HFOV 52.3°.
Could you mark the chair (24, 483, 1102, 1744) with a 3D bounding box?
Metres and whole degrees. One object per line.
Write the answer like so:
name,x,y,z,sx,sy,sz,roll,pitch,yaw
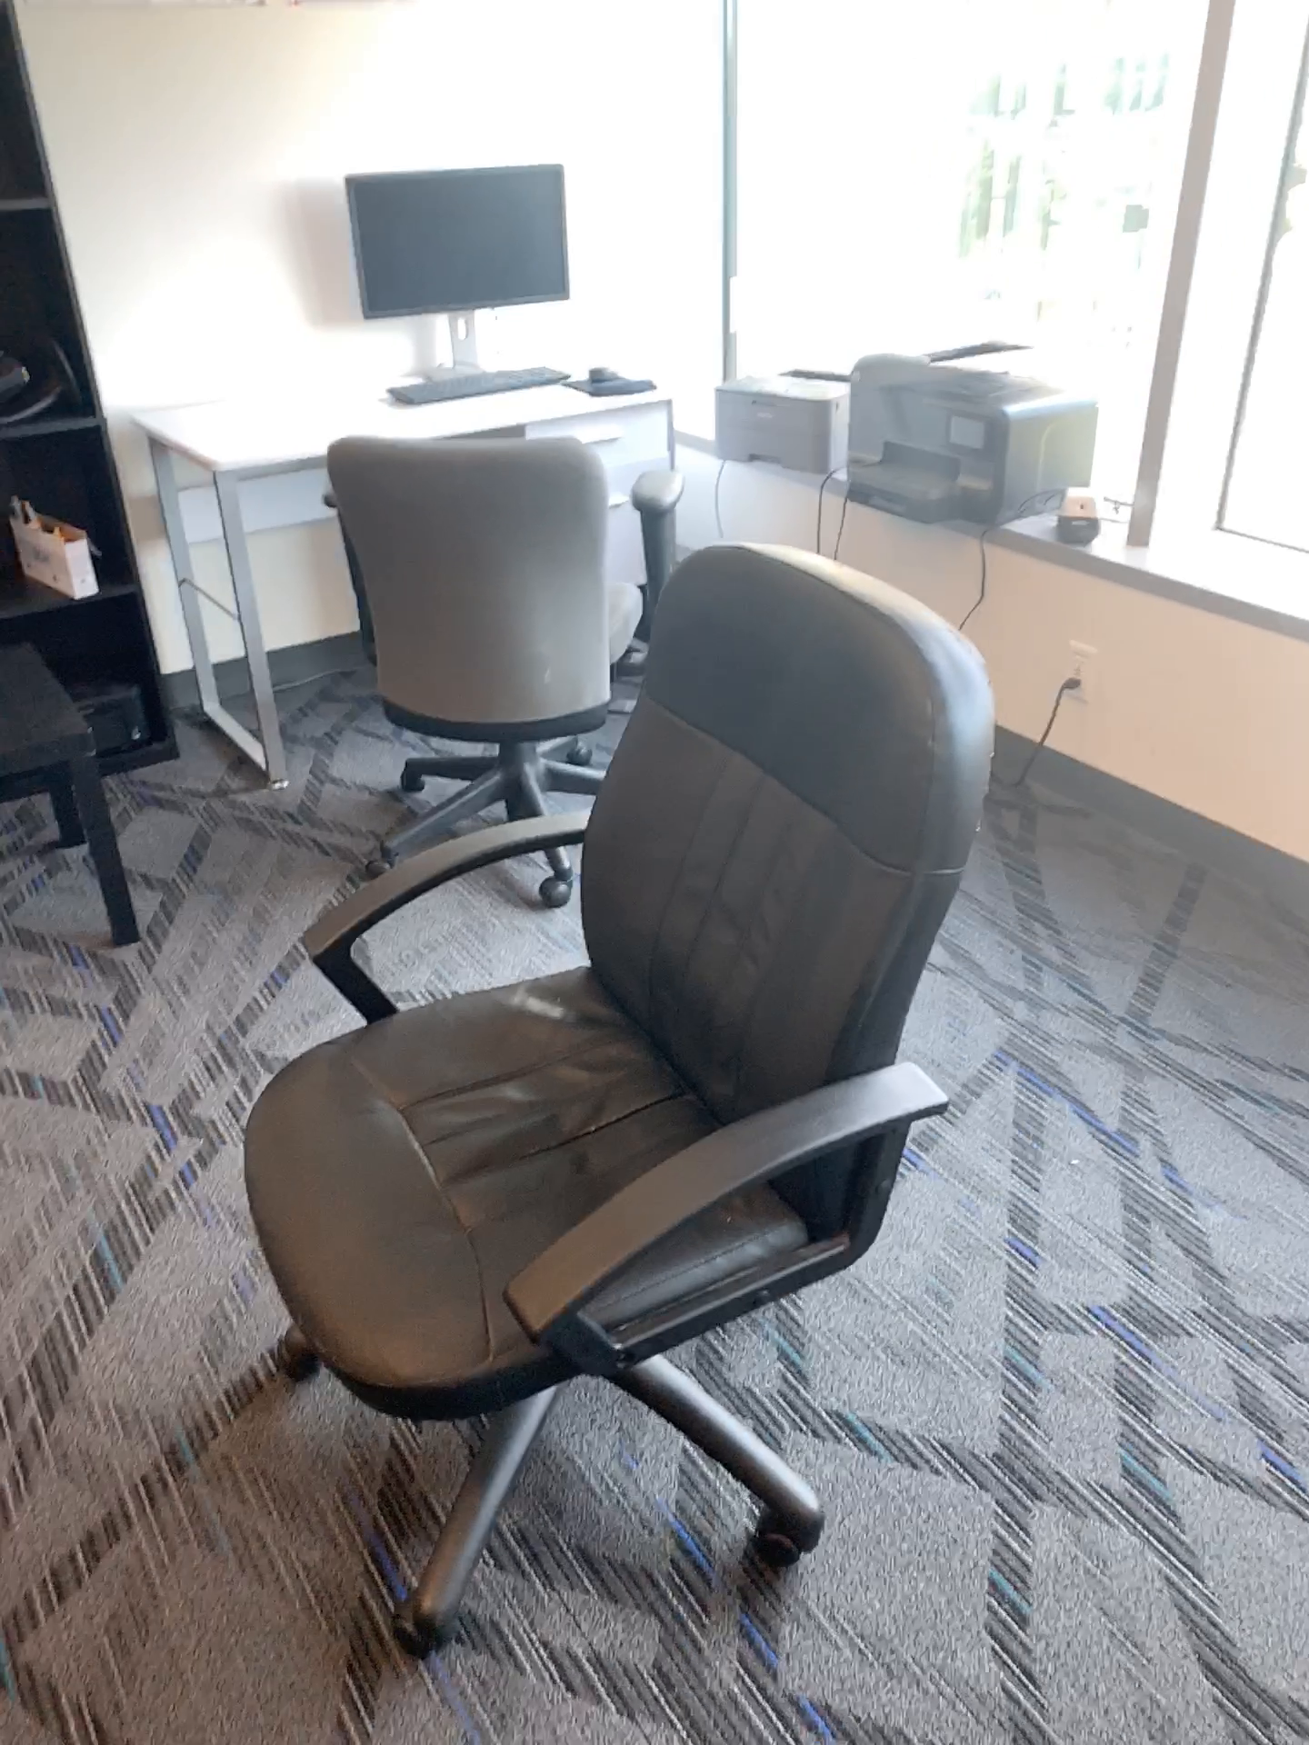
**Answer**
chair,-0.118,0.176,1.363,0.691,0.893,0.704,-17,33,-24
